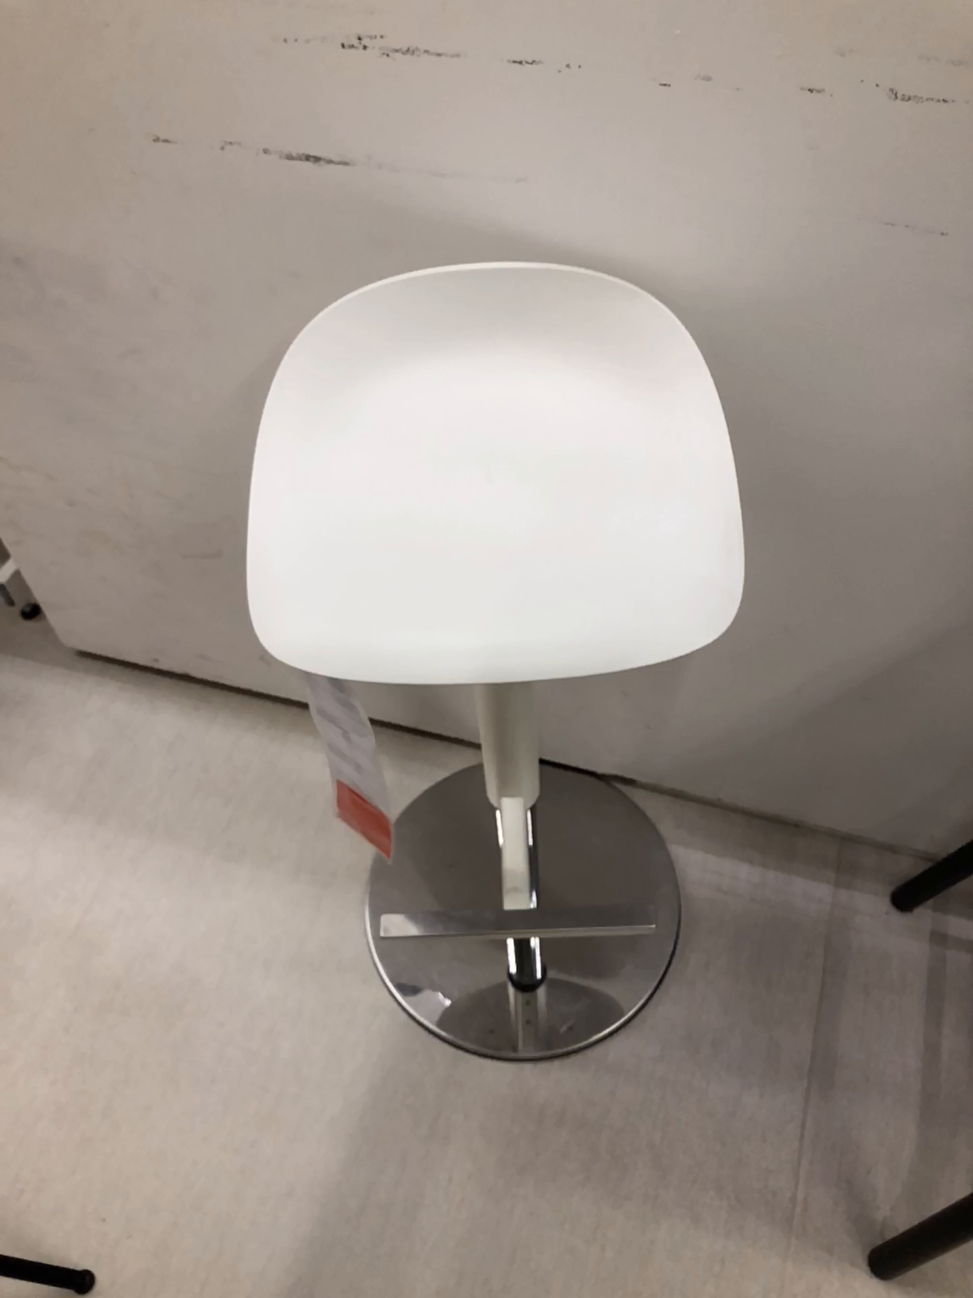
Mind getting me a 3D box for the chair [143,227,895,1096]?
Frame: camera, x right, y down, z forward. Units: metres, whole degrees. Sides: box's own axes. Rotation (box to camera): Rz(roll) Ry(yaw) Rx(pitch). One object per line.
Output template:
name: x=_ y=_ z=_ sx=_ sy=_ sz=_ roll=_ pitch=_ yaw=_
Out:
chair: x=0.032 y=0.072 z=1.082 sx=0.440 sy=0.746 sz=0.513 roll=-3 pitch=53 yaw=2
